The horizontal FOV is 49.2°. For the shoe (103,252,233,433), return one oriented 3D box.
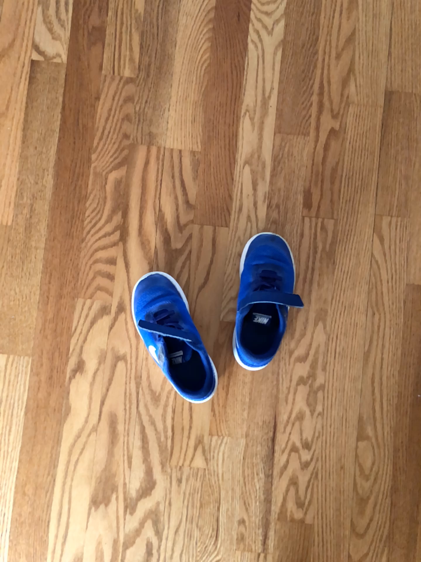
[{"bbox_3d":[-0.057,0.082,0.645,0.093,0.092,0.214,-23,87,-2],"label":"shoe"}]

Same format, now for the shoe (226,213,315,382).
[{"bbox_3d":[0.081,0.024,0.656,0.093,0.092,0.214,6,86,0],"label":"shoe"}]
